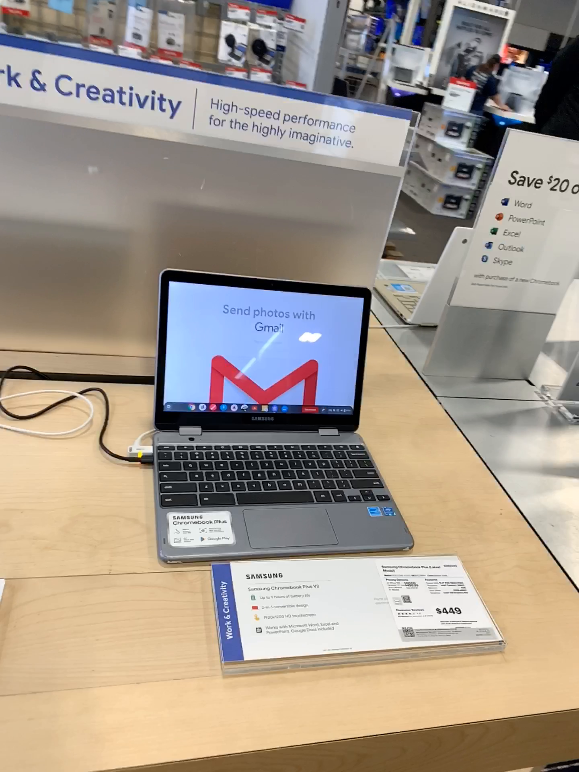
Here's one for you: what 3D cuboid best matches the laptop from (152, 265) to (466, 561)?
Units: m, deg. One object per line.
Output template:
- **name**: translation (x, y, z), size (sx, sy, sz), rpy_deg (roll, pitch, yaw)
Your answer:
- **laptop**: translation (-0.009, 0.016, 0.692), size (0.273, 0.181, 0.289), rpy_deg (2, 34, -16)
